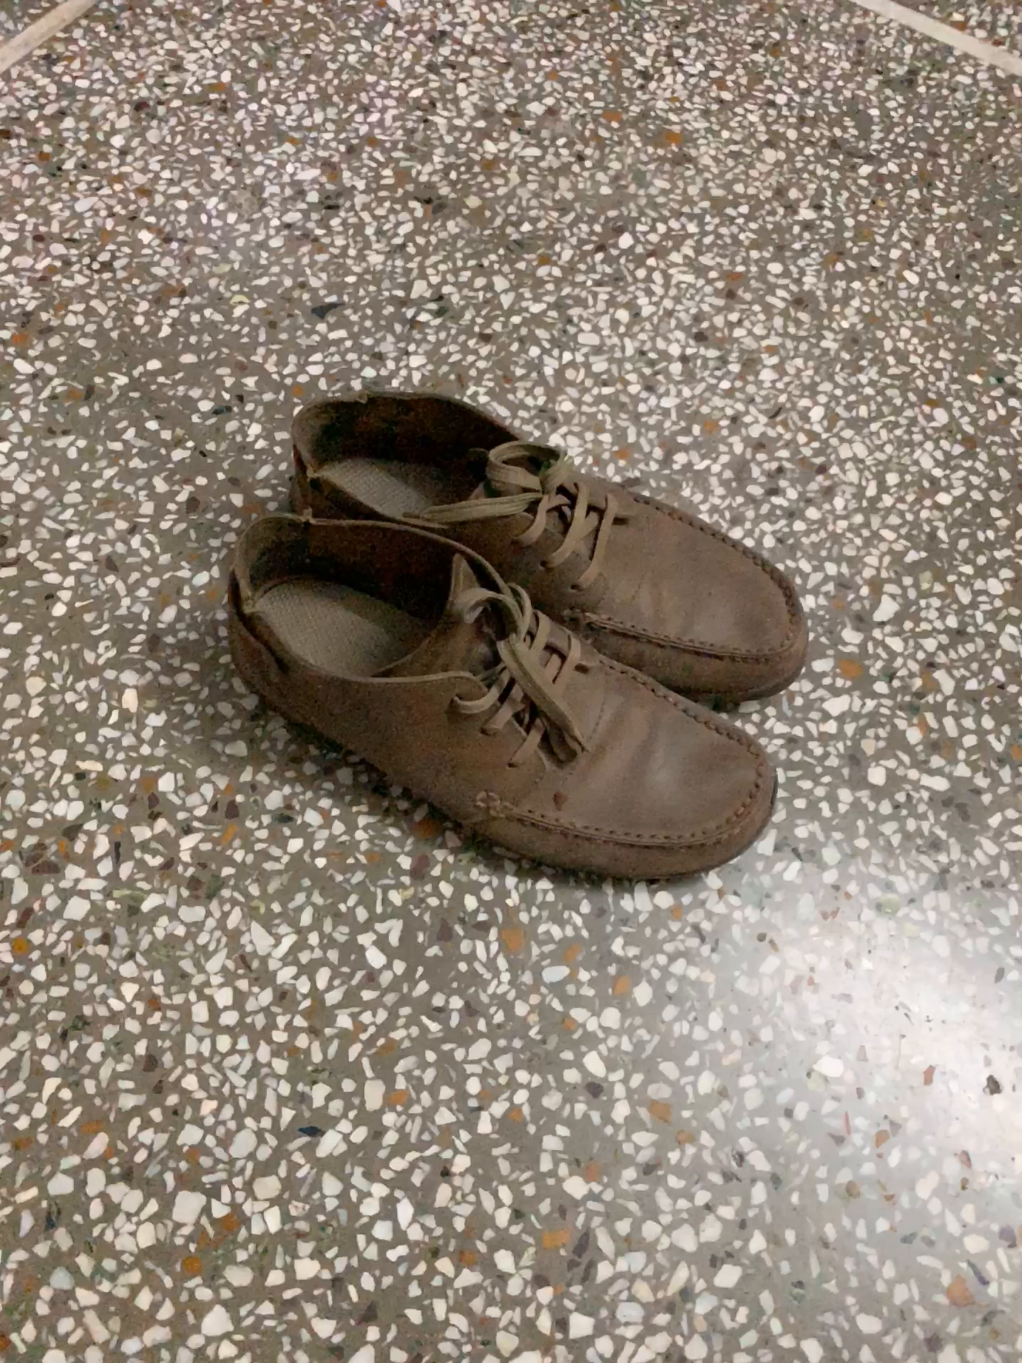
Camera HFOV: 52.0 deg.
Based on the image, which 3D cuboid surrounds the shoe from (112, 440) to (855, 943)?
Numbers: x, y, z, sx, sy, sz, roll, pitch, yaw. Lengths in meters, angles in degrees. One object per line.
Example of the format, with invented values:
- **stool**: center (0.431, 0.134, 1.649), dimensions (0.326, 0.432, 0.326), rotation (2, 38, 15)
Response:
- **shoe**: center (-0.013, 0.007, 0.477), dimensions (0.290, 0.100, 0.100), rotation (21, 66, 5)

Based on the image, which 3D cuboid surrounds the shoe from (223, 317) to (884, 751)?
- **shoe**: center (0.019, -0.072, 0.529), dimensions (0.290, 0.100, 0.100), rotation (18, 65, 4)
